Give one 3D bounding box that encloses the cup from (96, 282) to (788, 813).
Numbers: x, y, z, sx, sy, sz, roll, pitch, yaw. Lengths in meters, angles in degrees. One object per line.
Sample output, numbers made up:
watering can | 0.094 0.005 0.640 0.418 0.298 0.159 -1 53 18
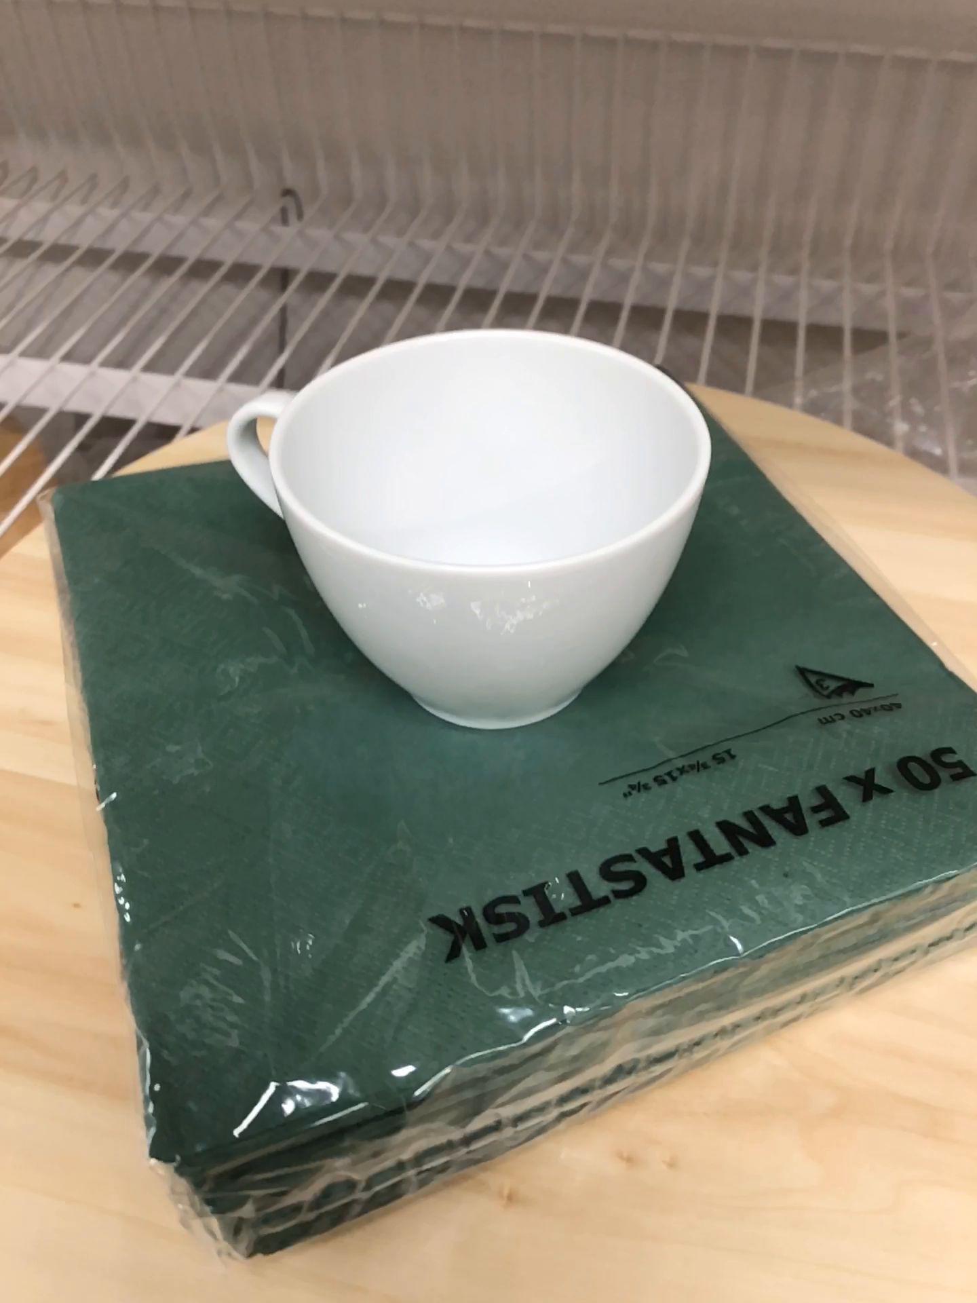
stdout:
cup | -0.006 -0.031 0.251 0.120 0.050 0.090 17 47 18
